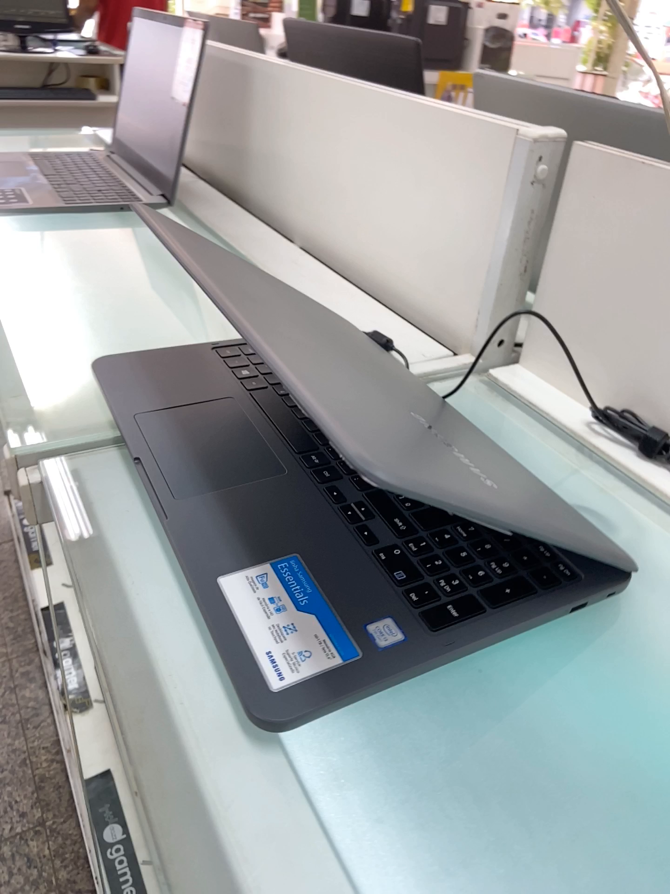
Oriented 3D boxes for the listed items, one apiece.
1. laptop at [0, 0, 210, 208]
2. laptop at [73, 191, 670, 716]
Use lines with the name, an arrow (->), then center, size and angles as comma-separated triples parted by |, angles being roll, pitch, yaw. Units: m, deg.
laptop -> -0.403, -0.530, 1.045 | 0.313, 0.225, 0.311 | -12, 38, -23
laptop -> -0.009, -0.052, 0.467 | 0.237, 0.126, 0.368 | -13, 39, -25
